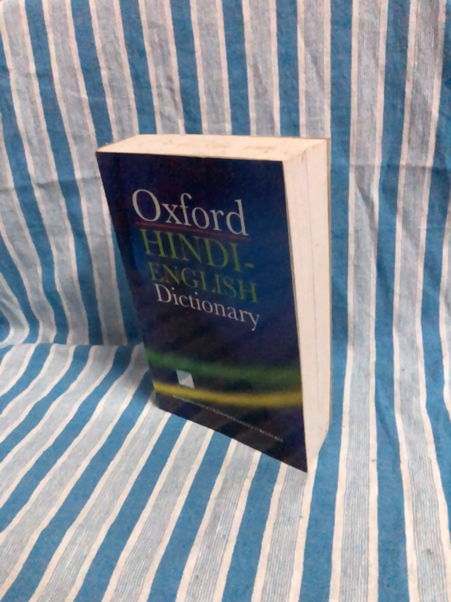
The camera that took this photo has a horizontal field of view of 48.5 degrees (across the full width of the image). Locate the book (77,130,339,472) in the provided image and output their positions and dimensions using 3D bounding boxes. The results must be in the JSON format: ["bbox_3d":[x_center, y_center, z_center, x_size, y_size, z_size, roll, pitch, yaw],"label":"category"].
[{"bbox_3d":[-0.003,-0.001,0.326,0.140,0.199,0.050,14,38,32],"label":"book"}]
